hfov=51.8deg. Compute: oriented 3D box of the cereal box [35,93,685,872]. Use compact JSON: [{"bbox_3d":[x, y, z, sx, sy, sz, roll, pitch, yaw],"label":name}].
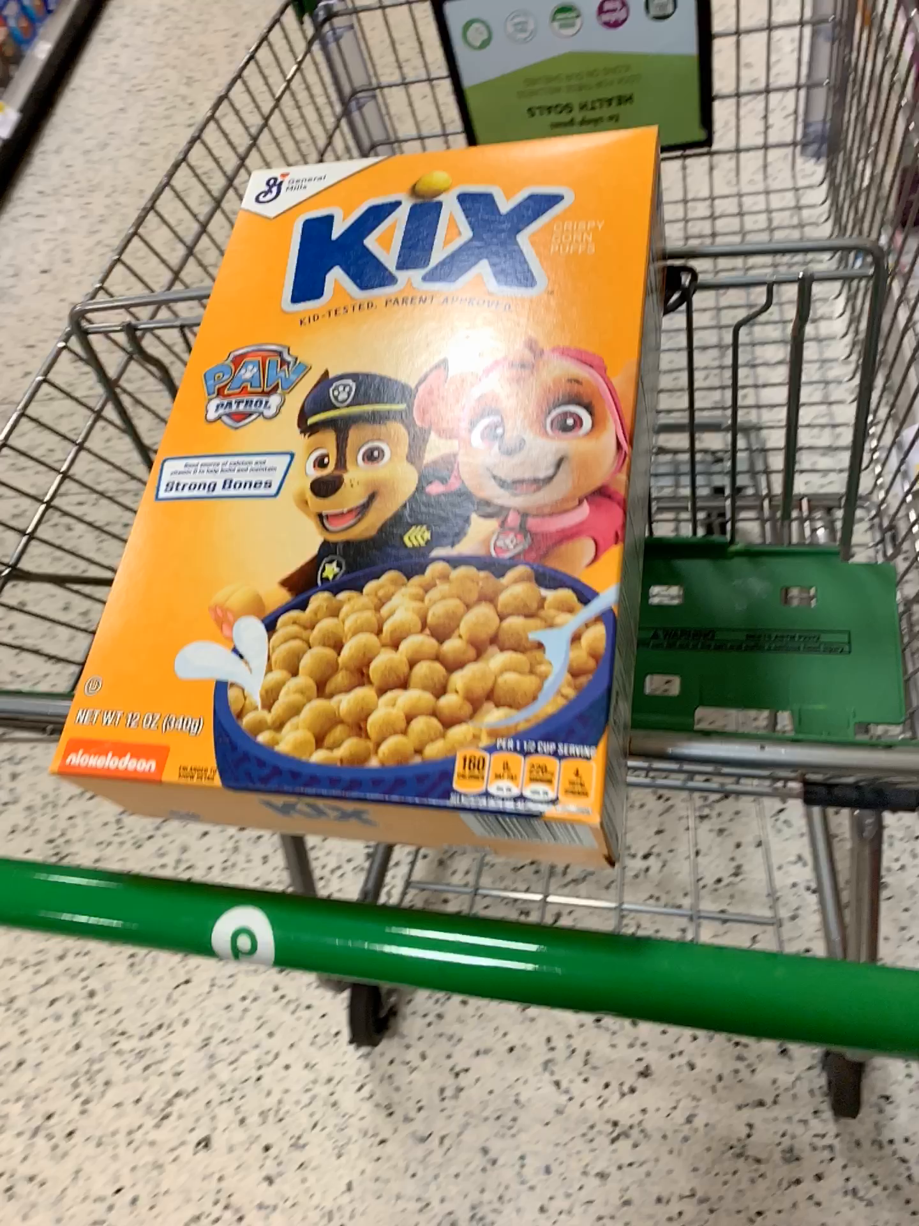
[{"bbox_3d":[-0.018,-0.069,0.411,0.210,0.079,0.322,2,64,16],"label":"cereal box"}]
